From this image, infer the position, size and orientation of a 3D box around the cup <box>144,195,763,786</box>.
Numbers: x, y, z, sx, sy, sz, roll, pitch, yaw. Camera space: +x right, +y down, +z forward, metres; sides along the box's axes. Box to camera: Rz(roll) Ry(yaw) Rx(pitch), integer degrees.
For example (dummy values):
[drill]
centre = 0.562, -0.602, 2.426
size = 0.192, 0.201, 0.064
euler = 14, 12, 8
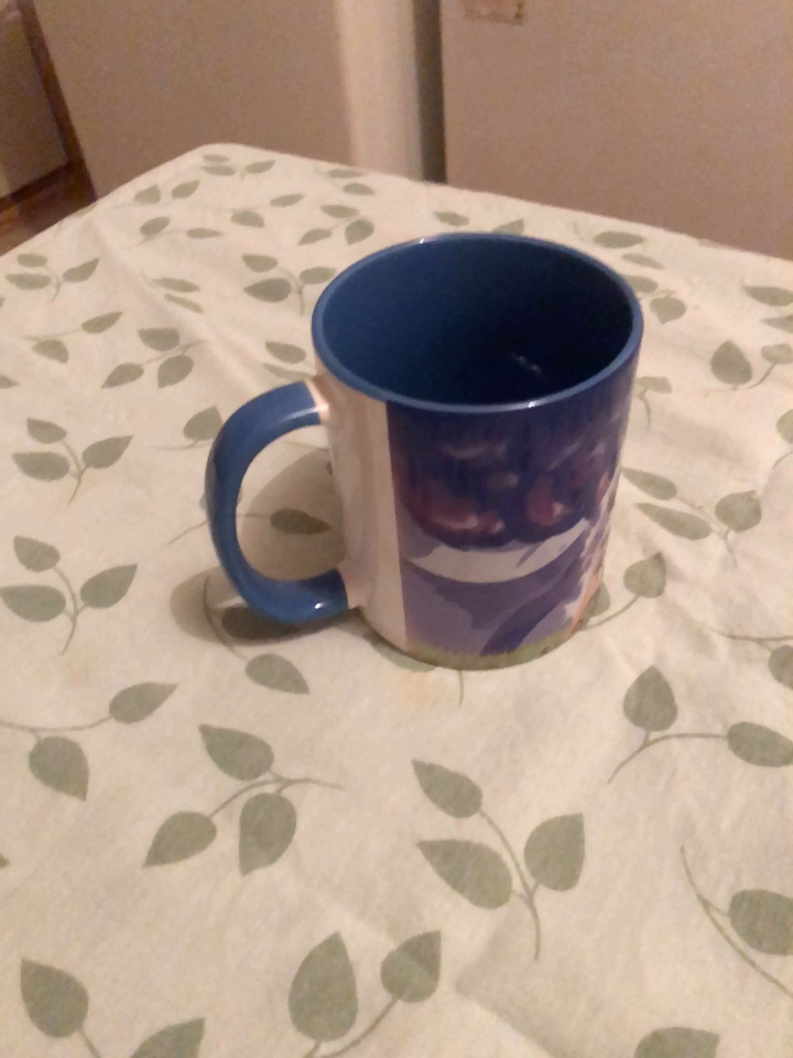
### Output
[cup]
centre = 0.010, -0.013, 0.243
size = 0.120, 0.099, 0.090
euler = -18, 47, -12
